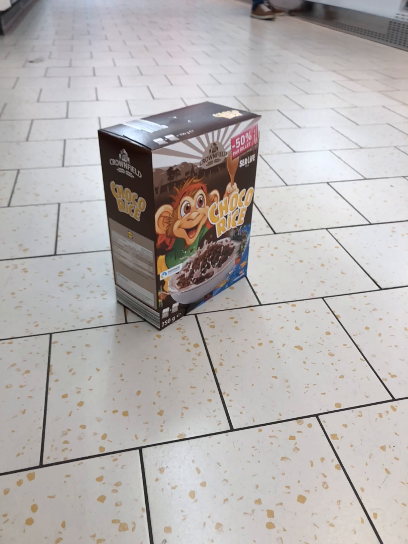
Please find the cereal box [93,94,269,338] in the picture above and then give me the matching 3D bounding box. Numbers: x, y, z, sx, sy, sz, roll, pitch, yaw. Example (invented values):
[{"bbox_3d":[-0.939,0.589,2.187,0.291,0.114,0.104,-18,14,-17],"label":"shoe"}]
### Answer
[{"bbox_3d":[-0.024,-0.081,0.624,0.100,0.268,0.201,29,42,34],"label":"cereal box"}]
